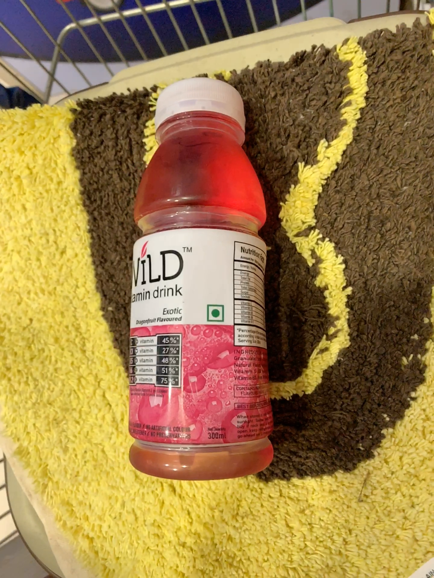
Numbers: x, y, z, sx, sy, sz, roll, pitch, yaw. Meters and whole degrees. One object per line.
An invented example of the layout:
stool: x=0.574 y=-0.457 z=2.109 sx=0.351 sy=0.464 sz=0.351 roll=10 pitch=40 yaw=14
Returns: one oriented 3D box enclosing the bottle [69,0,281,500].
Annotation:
bottle: x=-0.015 y=-0.016 z=0.183 sx=0.060 sy=0.050 sz=0.170 roll=-9 pitch=75 yaw=40
